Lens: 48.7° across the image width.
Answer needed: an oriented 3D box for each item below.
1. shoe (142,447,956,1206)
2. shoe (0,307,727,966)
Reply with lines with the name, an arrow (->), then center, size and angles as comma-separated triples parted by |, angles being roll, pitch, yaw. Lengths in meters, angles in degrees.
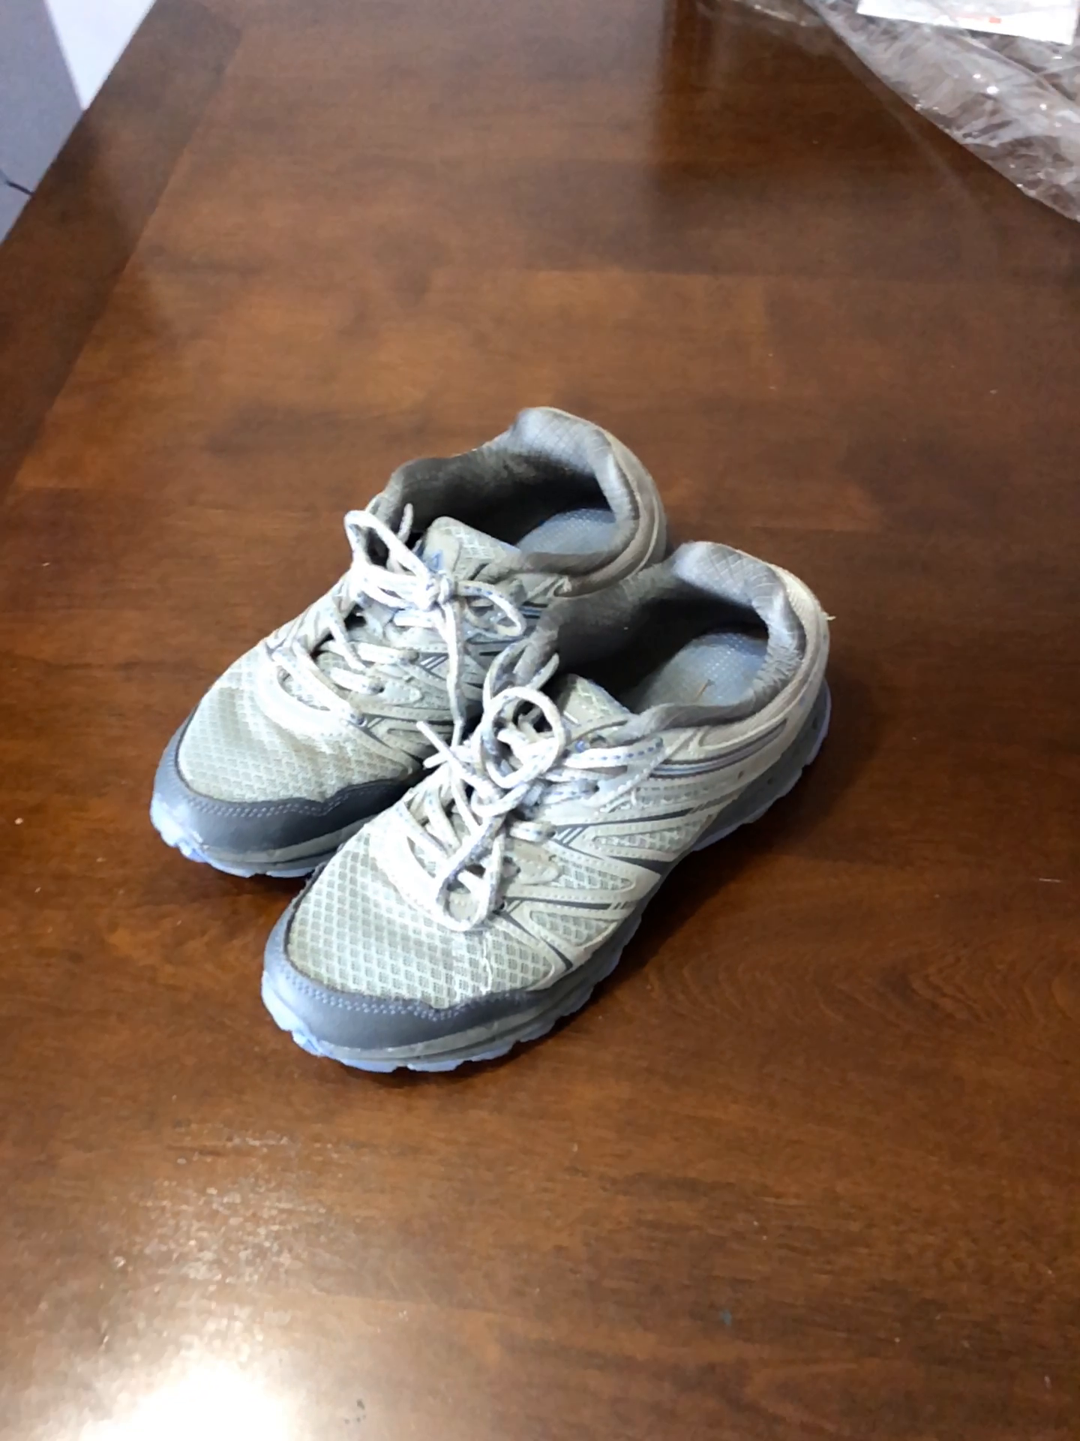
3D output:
shoe -> 0.013, 0.028, 0.432 | 0.260, 0.100, 0.110 | -37, 60, -21
shoe -> -0.056, -0.041, 0.471 | 0.250, 0.100, 0.110 | -37, 61, -21
